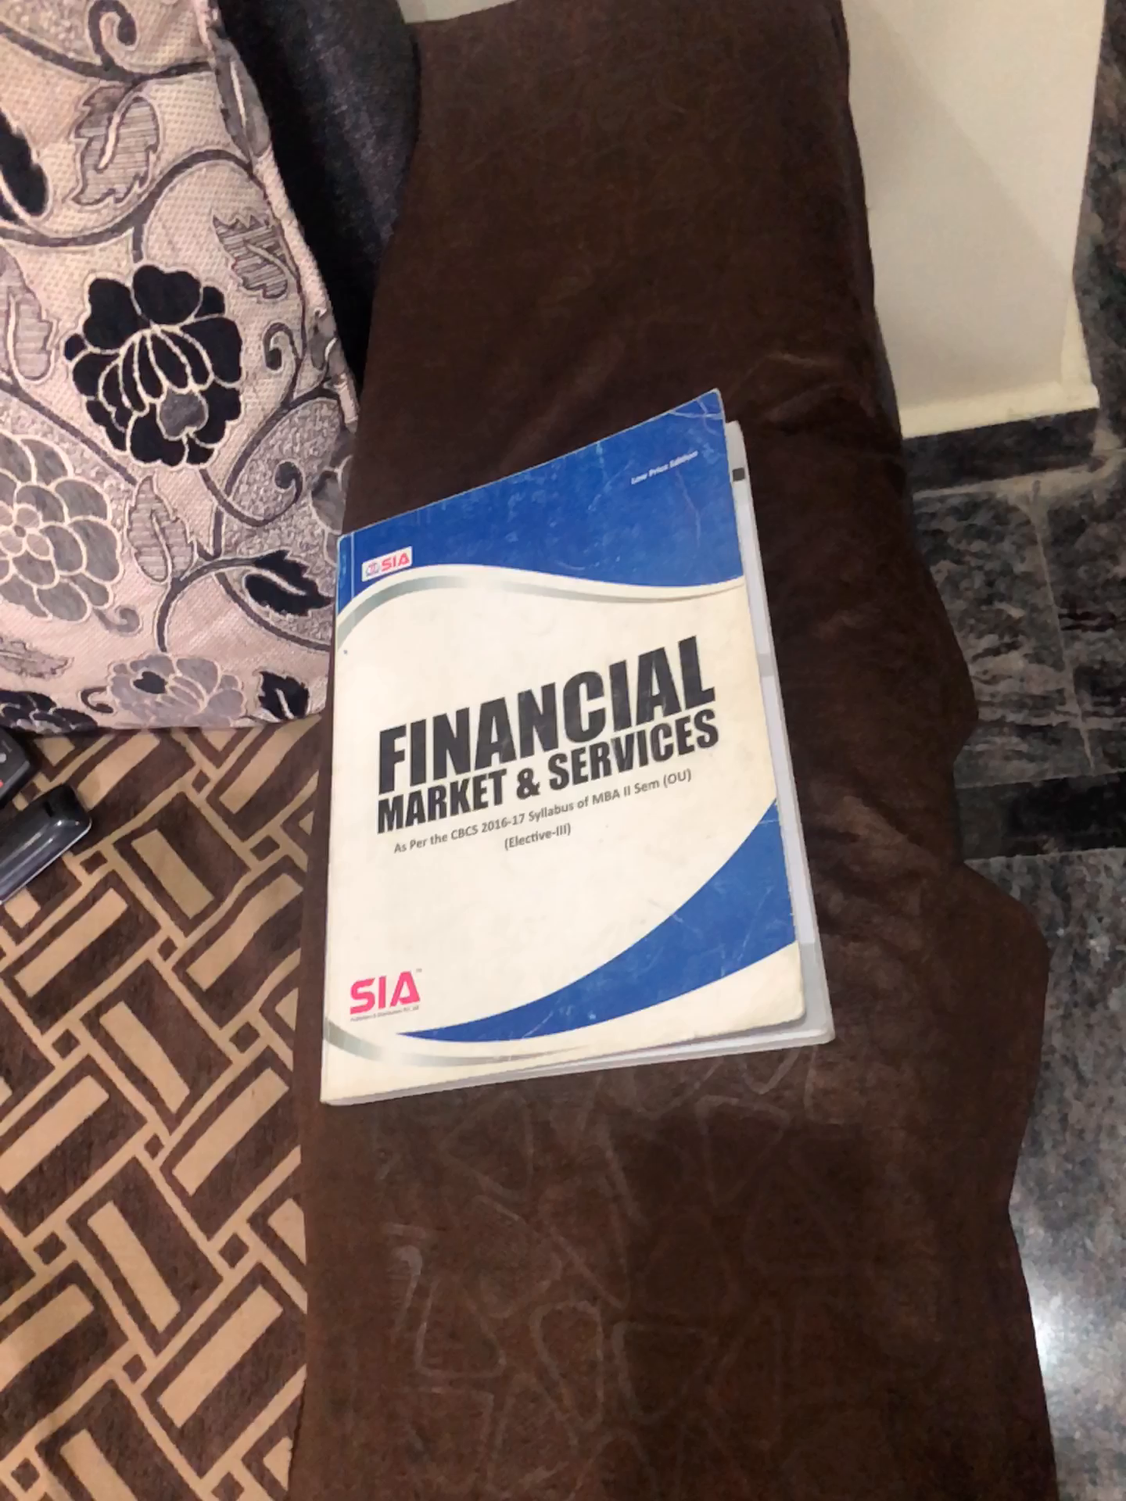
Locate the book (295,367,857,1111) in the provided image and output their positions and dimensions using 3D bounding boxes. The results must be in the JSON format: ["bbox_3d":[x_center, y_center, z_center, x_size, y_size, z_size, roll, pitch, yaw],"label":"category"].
[{"bbox_3d":[-0.008,-0.007,0.542,0.220,0.040,0.290,-14,62,21],"label":"book"}]
